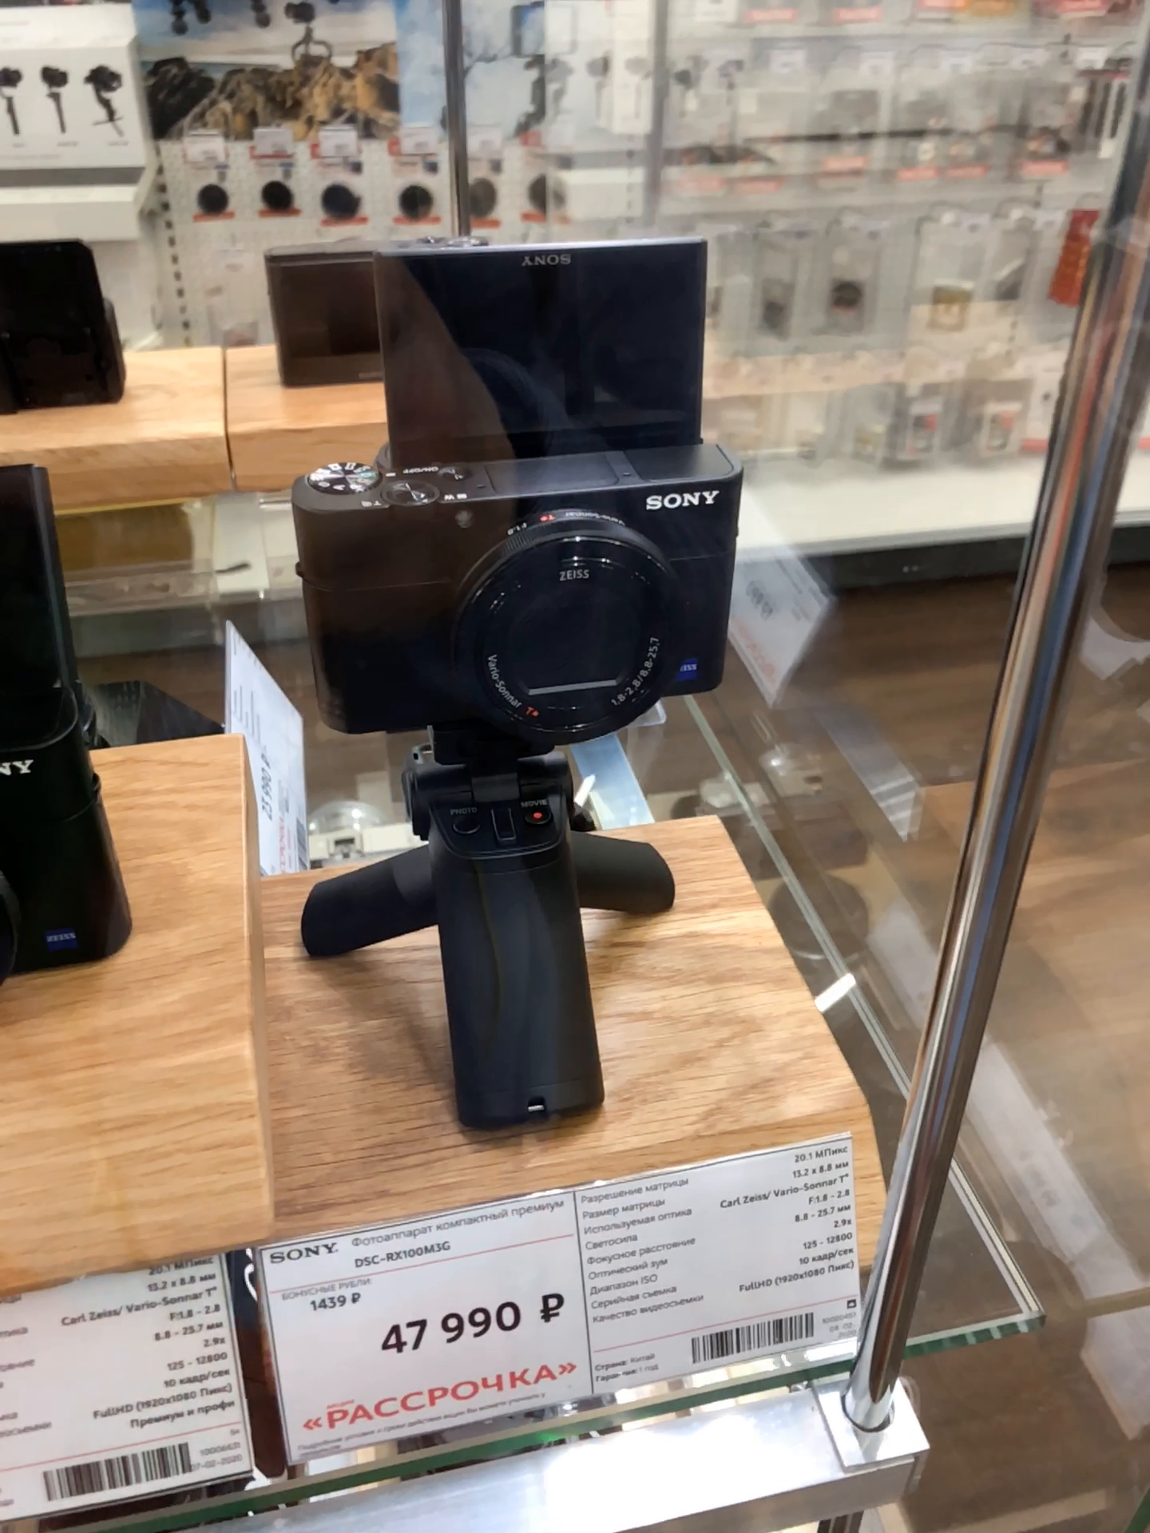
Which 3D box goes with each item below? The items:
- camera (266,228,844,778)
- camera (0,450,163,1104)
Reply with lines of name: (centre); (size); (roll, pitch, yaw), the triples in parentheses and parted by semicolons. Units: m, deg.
camera: (-0.008, -0.061, 0.288); (0.108, 0.097, 0.063); (-6, 35, -10)
camera: (-0.149, -0.001, 0.256); (0.108, 0.097, 0.070); (-6, 35, -10)
